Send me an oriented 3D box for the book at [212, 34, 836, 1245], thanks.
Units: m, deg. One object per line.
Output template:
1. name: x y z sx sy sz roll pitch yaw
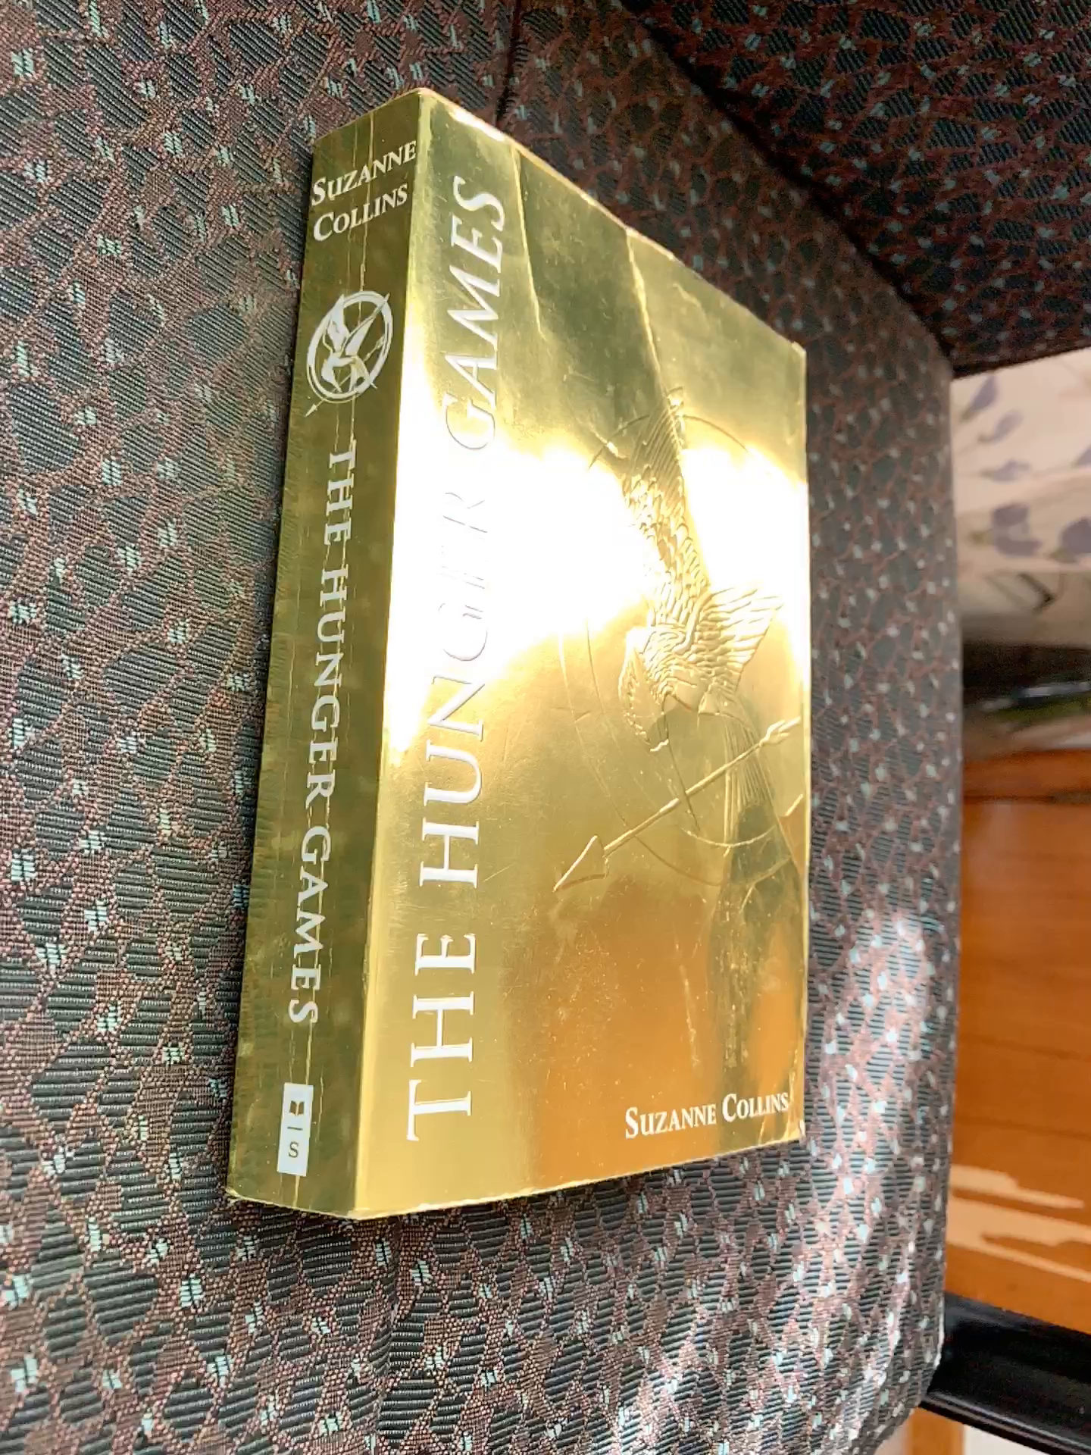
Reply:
1. book: 0.010 -0.011 0.247 0.143 0.037 0.200 13 74 -47
